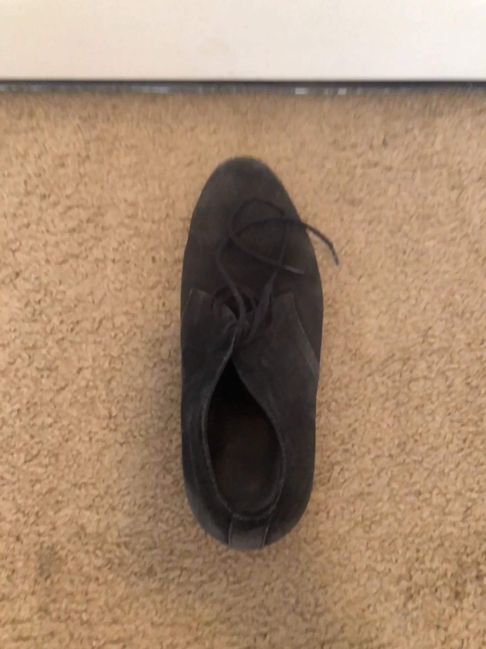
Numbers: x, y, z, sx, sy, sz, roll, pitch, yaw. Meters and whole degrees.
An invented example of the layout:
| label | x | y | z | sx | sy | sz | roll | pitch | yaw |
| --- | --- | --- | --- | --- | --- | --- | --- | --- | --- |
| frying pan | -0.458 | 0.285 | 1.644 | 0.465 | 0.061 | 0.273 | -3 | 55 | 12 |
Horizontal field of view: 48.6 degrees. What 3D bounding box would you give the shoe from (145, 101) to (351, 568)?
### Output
| label | x | y | z | sx | sy | sz | roll | pitch | yaw |
| --- | --- | --- | --- | --- | --- | --- | --- | --- | --- |
| shoe | 0.006 | 0.002 | 0.356 | 0.102 | 0.095 | 0.279 | 2 | 71 | 0 |
